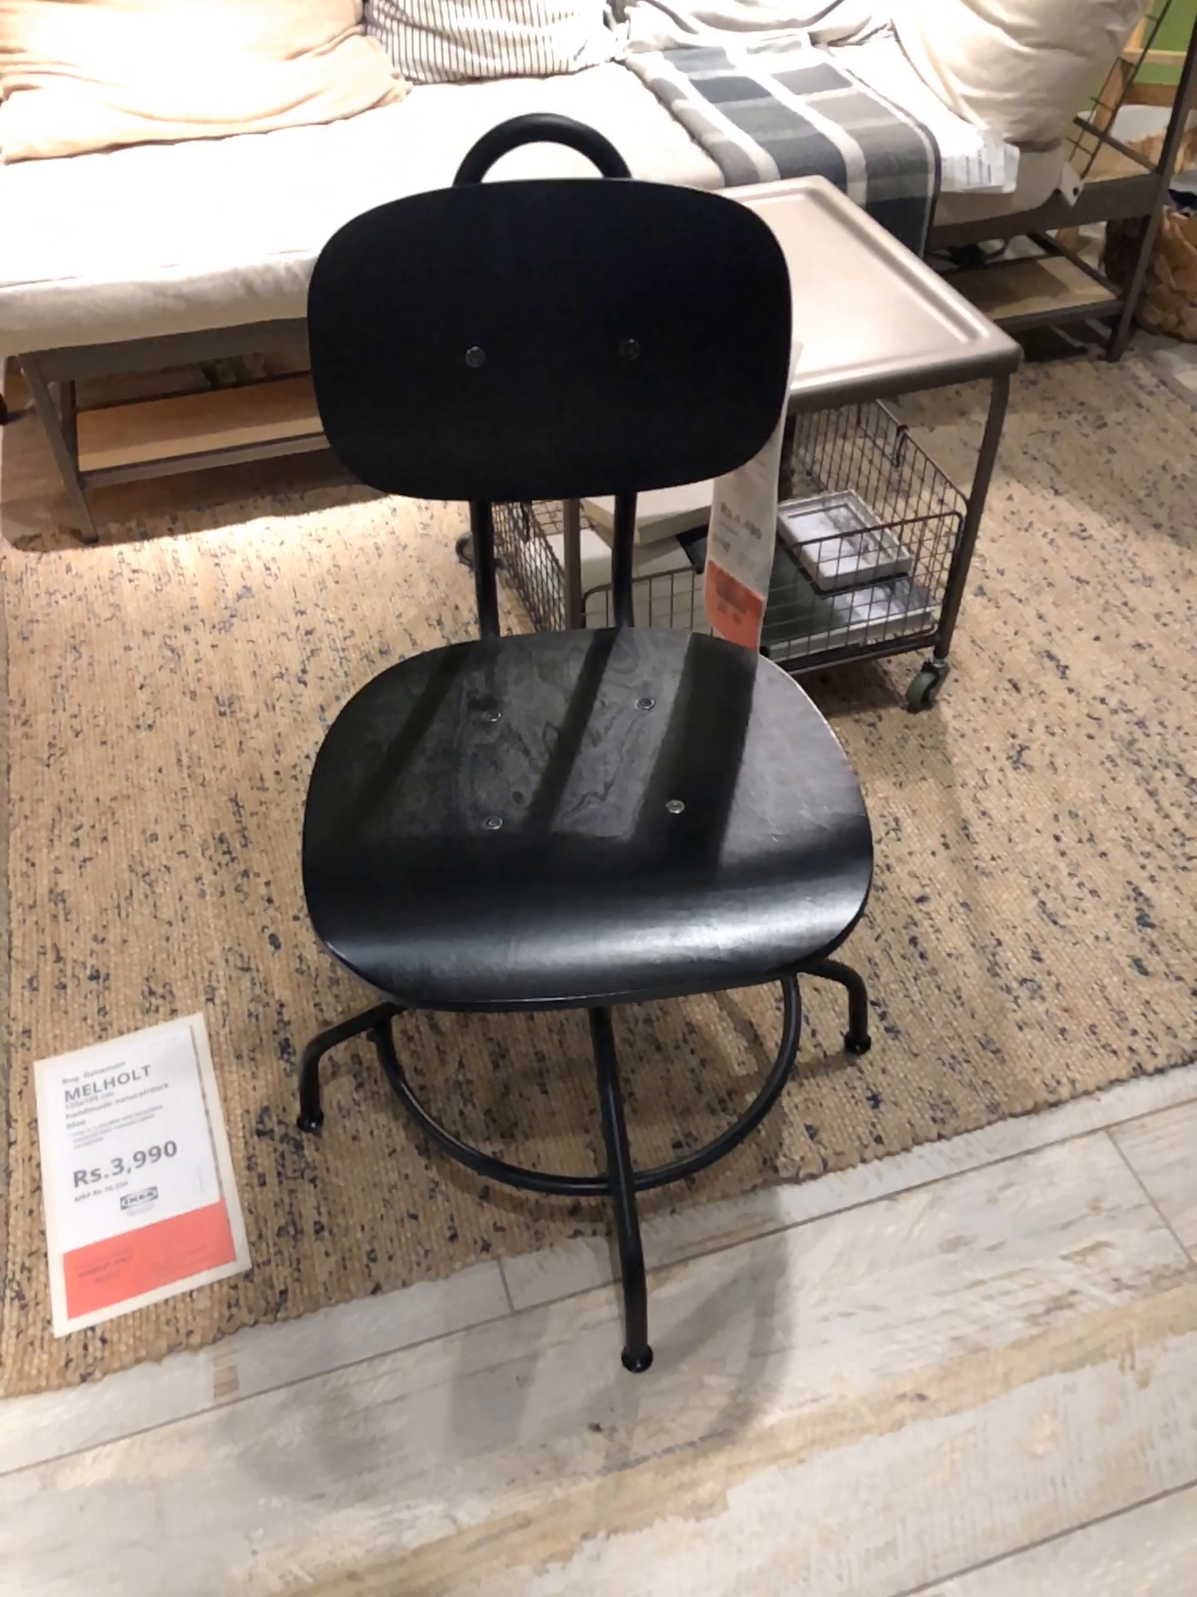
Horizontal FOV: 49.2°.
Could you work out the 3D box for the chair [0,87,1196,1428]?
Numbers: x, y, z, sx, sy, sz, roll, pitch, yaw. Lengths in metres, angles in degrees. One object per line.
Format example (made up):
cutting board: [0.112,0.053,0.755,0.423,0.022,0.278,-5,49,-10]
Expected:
chair: [-0.020,-0.005,0.989,0.590,0.765,0.584,-6,46,-4]
